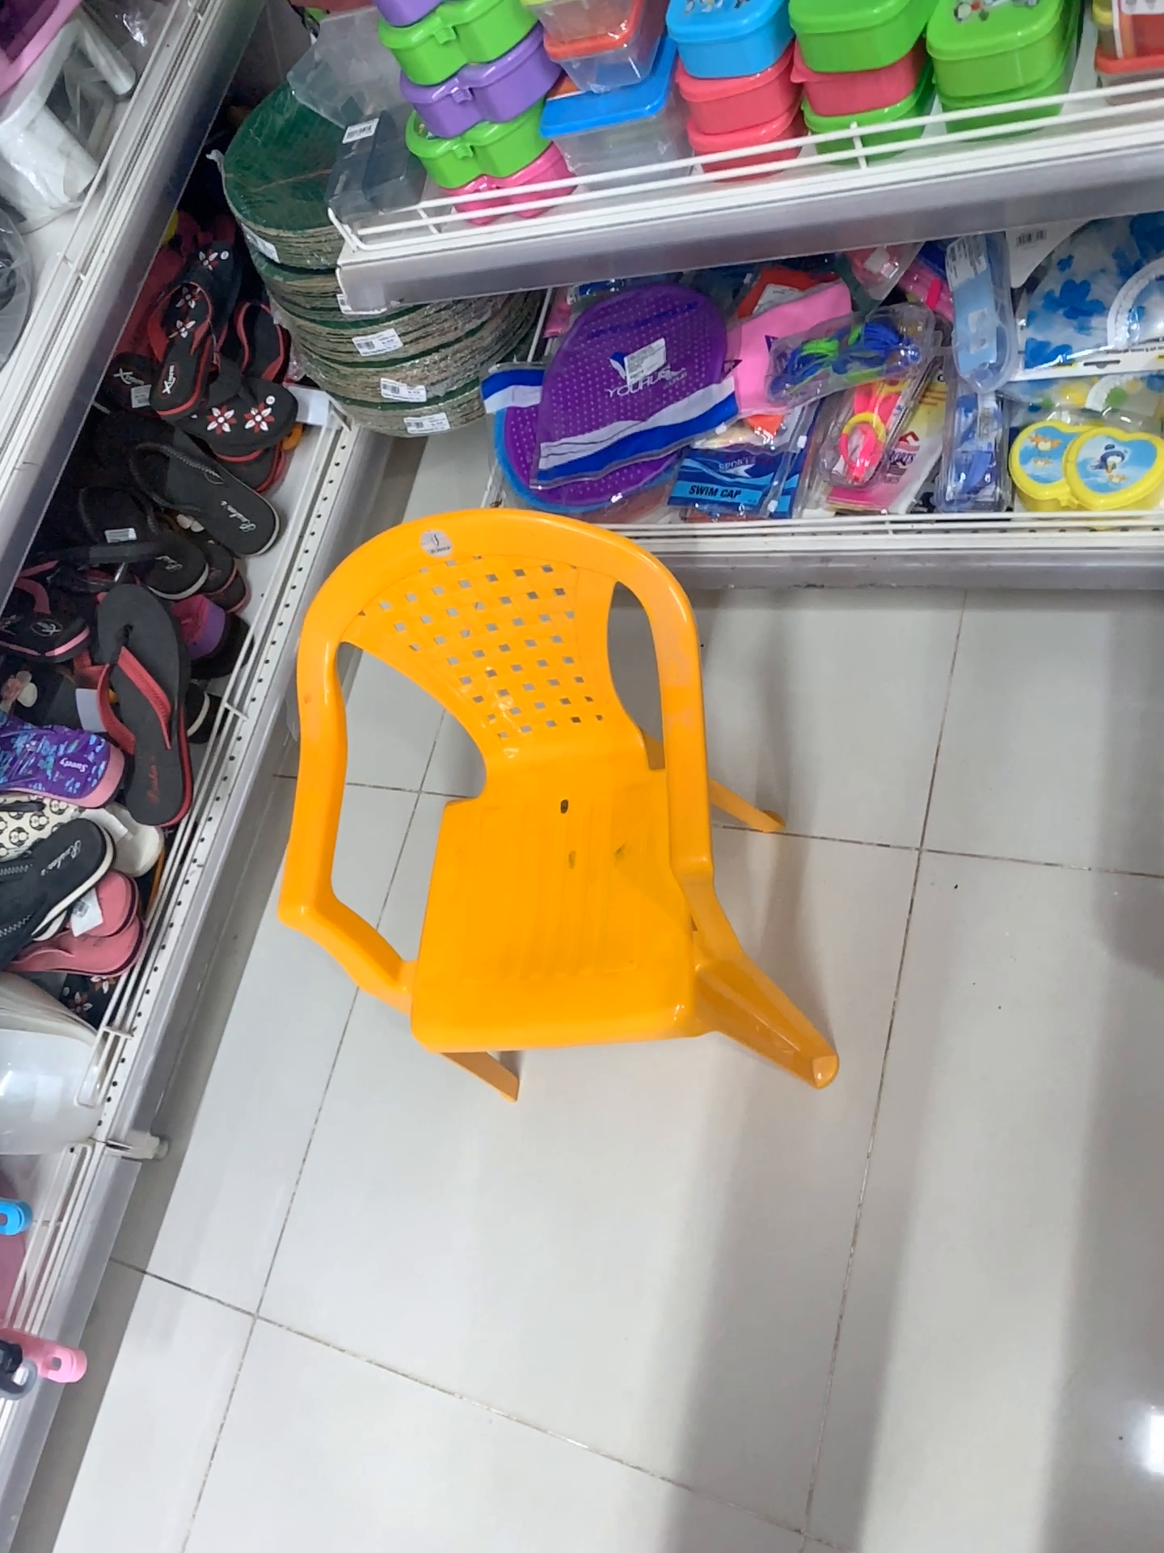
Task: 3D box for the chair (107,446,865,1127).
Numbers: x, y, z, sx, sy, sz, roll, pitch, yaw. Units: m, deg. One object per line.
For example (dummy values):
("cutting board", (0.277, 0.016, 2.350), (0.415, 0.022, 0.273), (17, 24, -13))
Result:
("chair", (-0.031, 0.065, 0.964), (0.401, 0.458, 0.360), (-9, 64, 23))
